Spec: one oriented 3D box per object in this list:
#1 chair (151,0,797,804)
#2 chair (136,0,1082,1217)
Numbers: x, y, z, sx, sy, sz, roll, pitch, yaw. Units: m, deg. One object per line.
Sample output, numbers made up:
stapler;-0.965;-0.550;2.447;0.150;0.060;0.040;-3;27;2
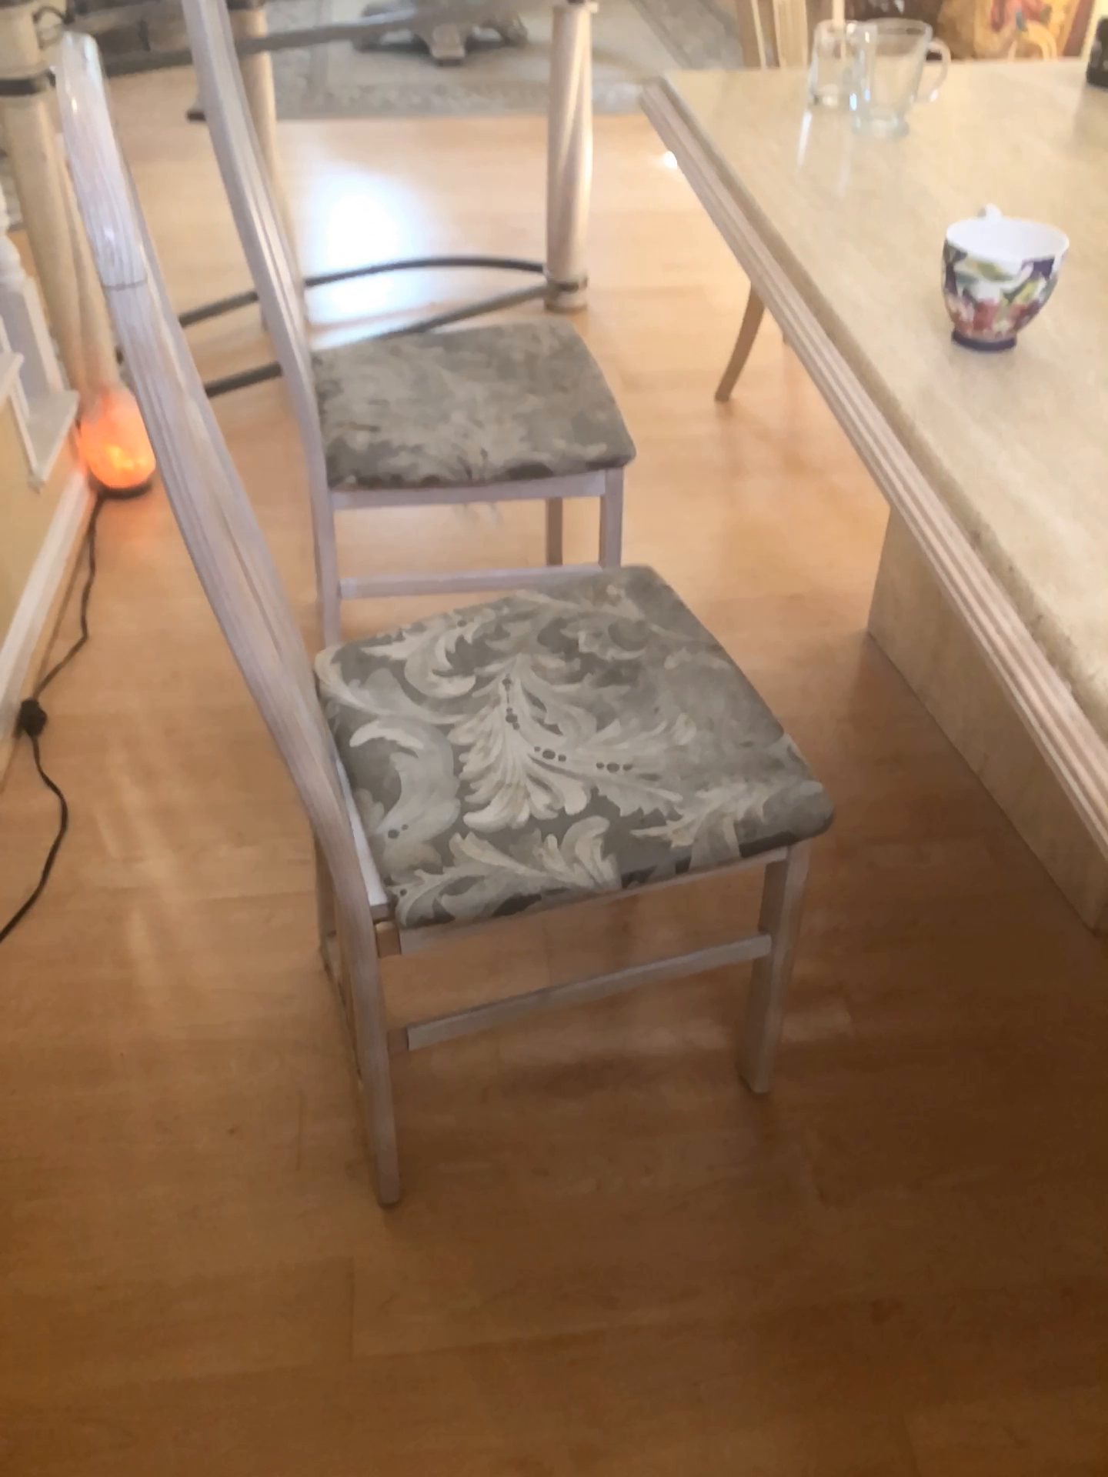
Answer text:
chair;-0.091;-0.529;1.602;0.560;1.140;0.484;-7;41;-7
chair;-0.018;-0.095;1.236;0.561;1.140;0.484;-8;41;-12
